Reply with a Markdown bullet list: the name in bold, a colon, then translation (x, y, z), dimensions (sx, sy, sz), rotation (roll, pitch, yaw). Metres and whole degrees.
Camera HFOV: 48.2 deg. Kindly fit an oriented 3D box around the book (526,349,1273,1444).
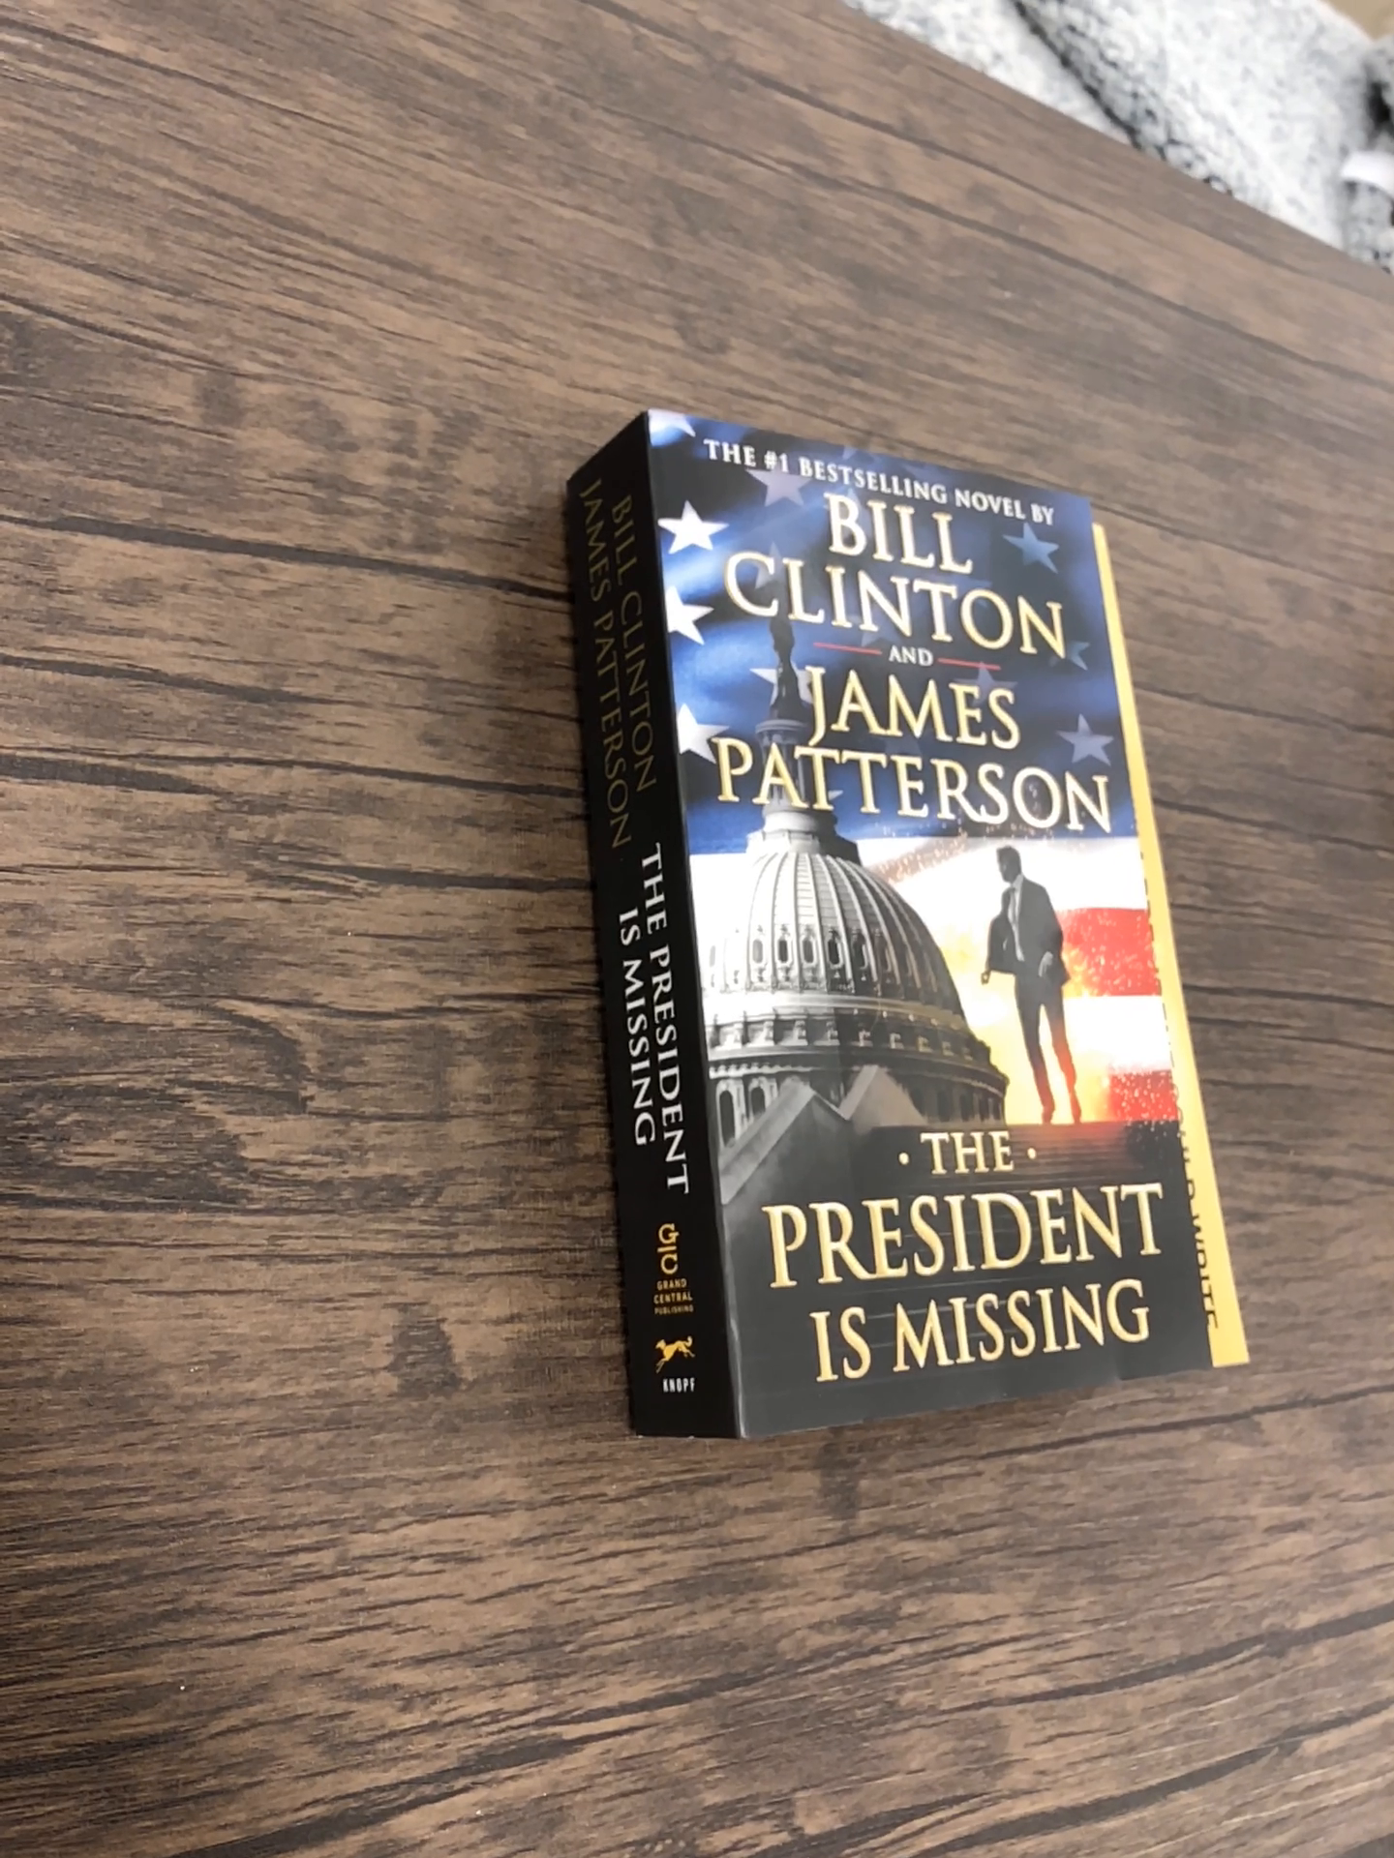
- **book**: translation (0.044, -0.005, 0.355), dimensions (0.140, 0.054, 0.216), rotation (3, 74, -33)
